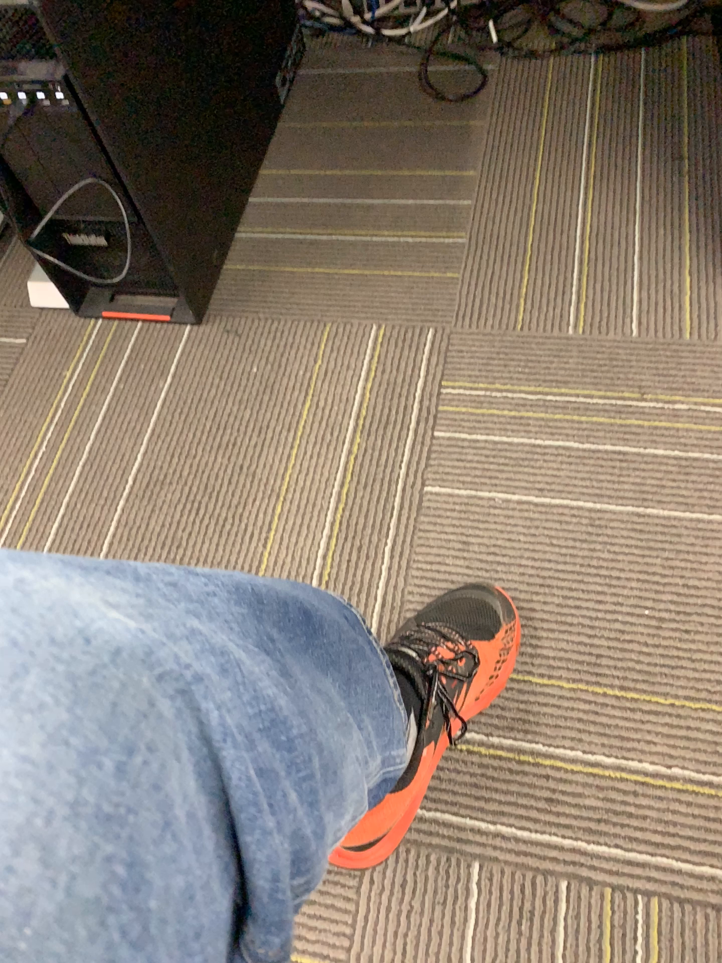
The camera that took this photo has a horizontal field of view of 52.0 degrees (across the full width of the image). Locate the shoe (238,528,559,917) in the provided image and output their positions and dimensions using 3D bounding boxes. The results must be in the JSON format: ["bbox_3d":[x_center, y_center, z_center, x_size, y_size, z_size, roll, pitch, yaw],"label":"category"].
[{"bbox_3d":[0.049,0.190,0.664,0.126,0.106,0.314,21,42,29],"label":"shoe"}]
